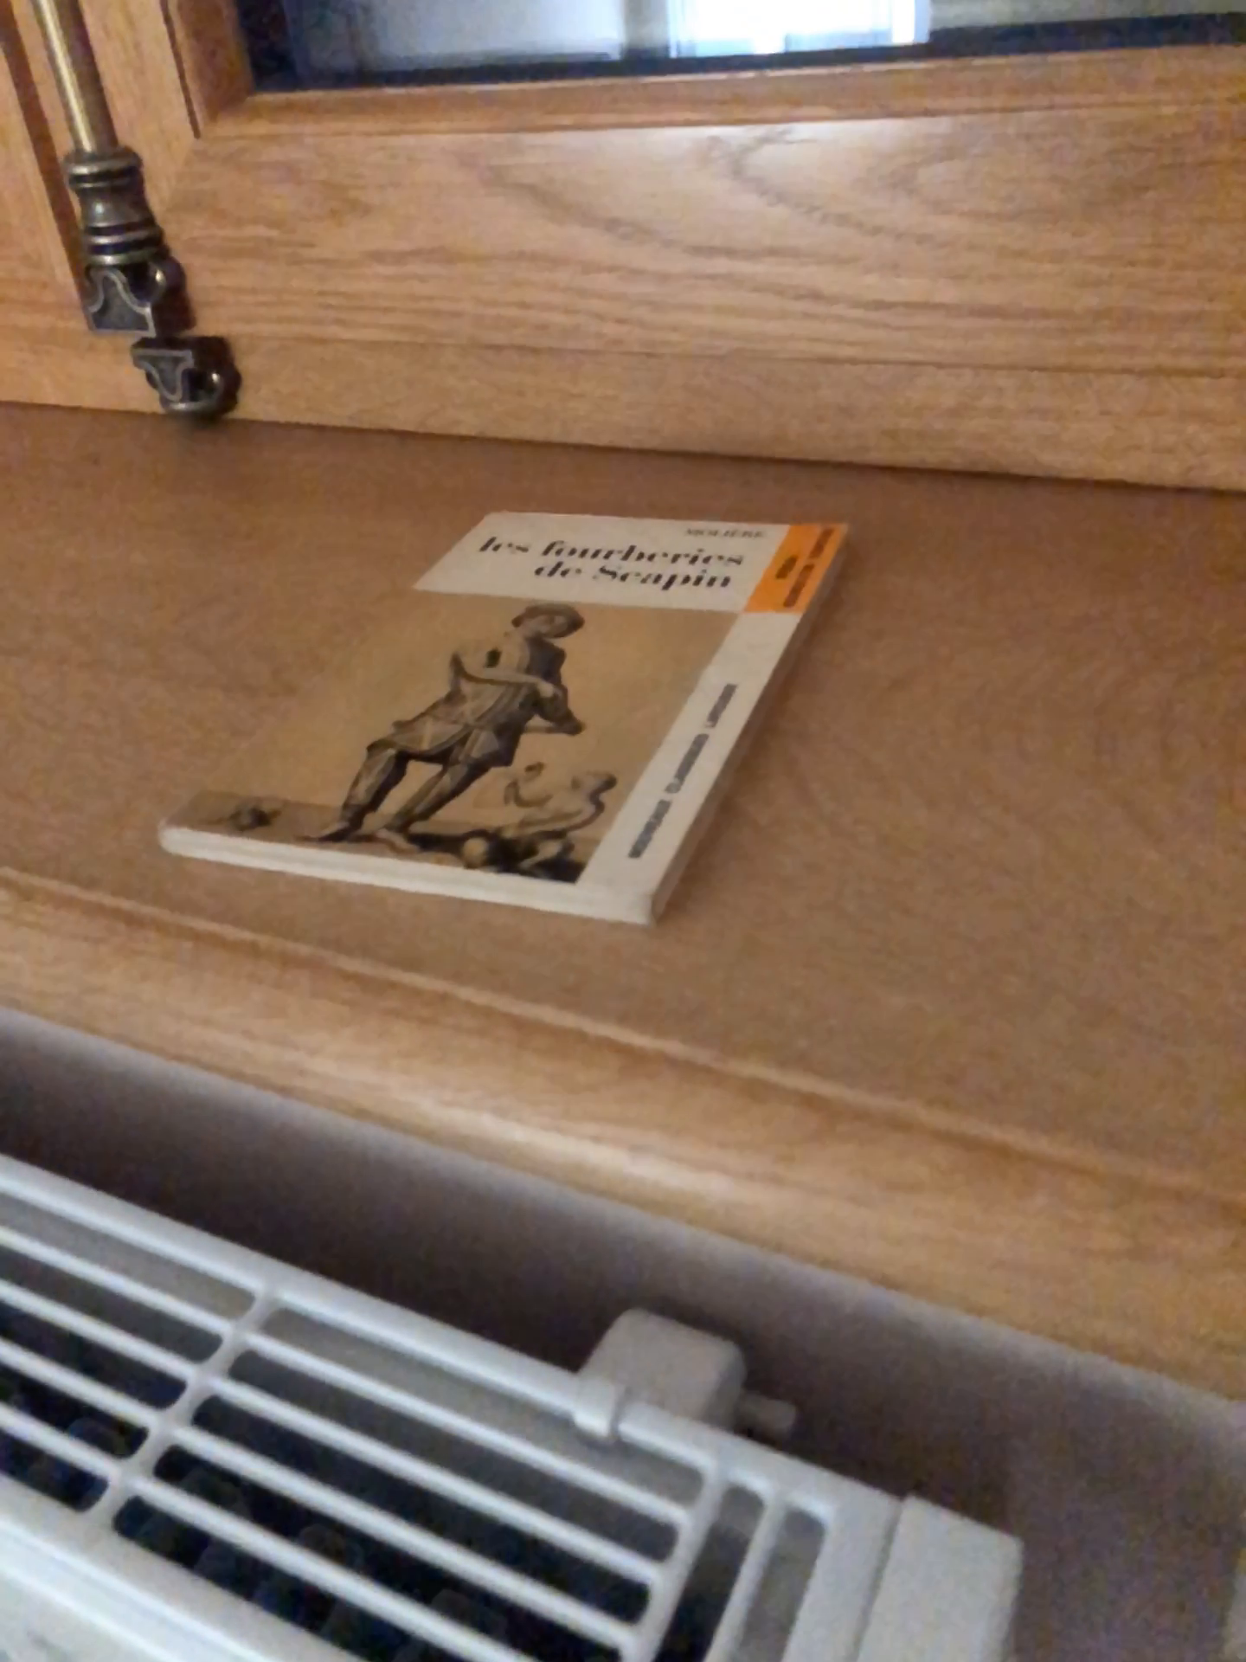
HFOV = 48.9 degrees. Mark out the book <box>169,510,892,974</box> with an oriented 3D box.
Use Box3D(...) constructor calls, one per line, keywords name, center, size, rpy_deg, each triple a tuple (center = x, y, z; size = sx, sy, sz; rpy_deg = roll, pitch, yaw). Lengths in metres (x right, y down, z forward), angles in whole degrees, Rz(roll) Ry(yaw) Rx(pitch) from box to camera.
Box3D(name="book", center=(-0.009, -0.036, 0.336), size=(0.117, 0.015, 0.175), rpy_deg=(7, 37, 20))
